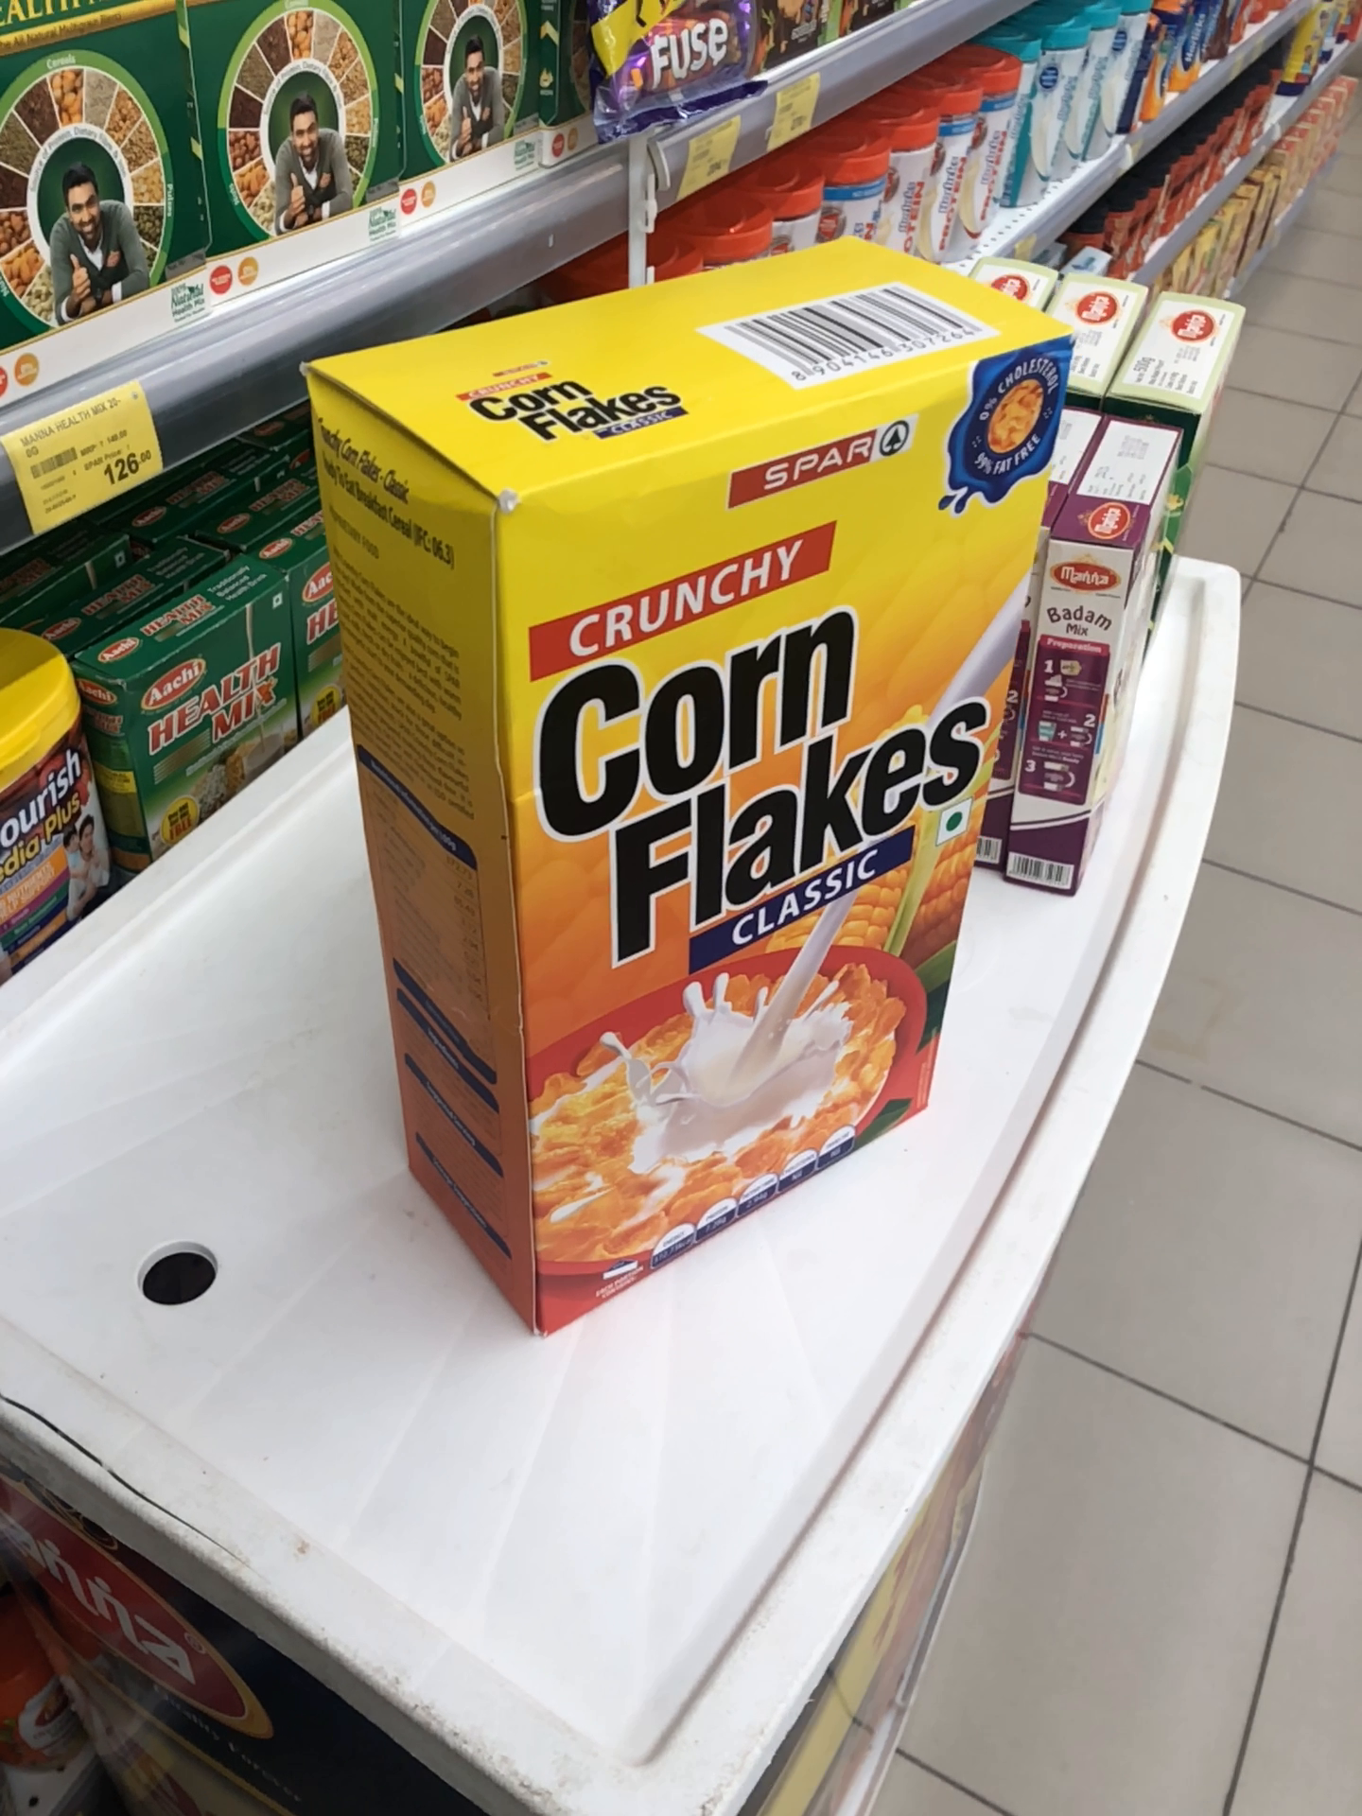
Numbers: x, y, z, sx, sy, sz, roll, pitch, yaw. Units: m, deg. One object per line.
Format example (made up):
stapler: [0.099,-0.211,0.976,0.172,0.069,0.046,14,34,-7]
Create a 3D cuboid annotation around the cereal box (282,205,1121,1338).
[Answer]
cereal box: [0.003,-0.032,0.489,0.200,0.319,0.090,-24,49,-28]
